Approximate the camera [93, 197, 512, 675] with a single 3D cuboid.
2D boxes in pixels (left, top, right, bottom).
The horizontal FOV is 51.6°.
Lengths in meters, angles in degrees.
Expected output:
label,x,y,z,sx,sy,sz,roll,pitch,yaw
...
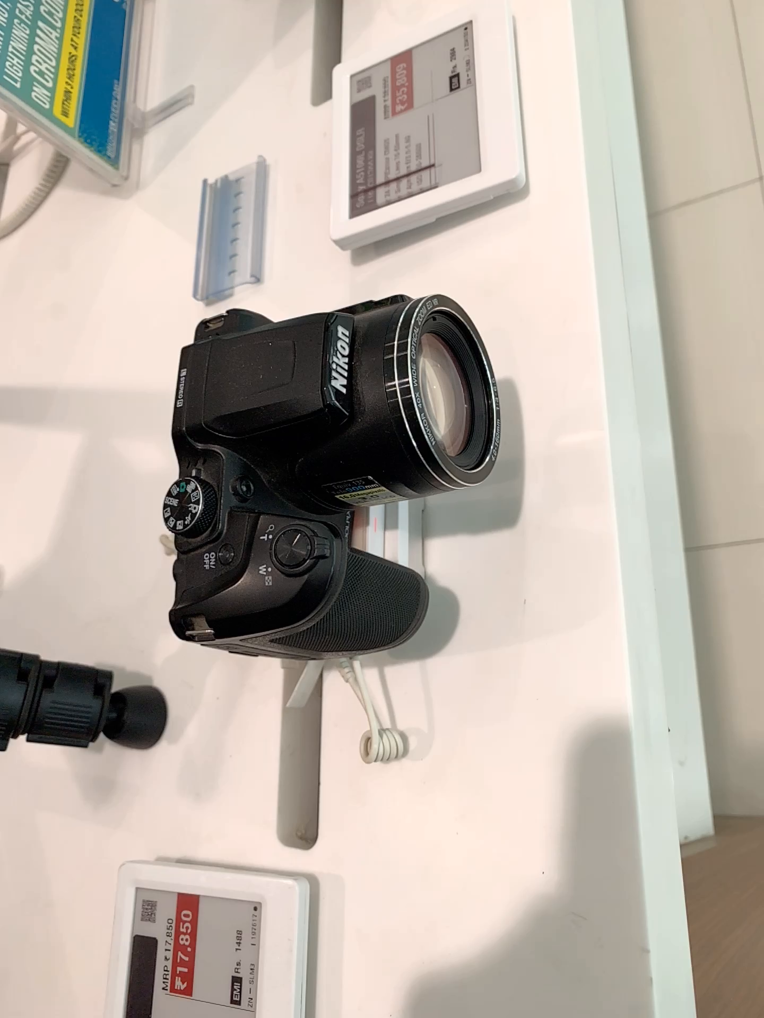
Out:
label,x,y,z,sx,sy,sz,roll,pitch,yaw
camera,-0.022,-0.012,0.261,0.100,0.080,0.120,-10,68,32
